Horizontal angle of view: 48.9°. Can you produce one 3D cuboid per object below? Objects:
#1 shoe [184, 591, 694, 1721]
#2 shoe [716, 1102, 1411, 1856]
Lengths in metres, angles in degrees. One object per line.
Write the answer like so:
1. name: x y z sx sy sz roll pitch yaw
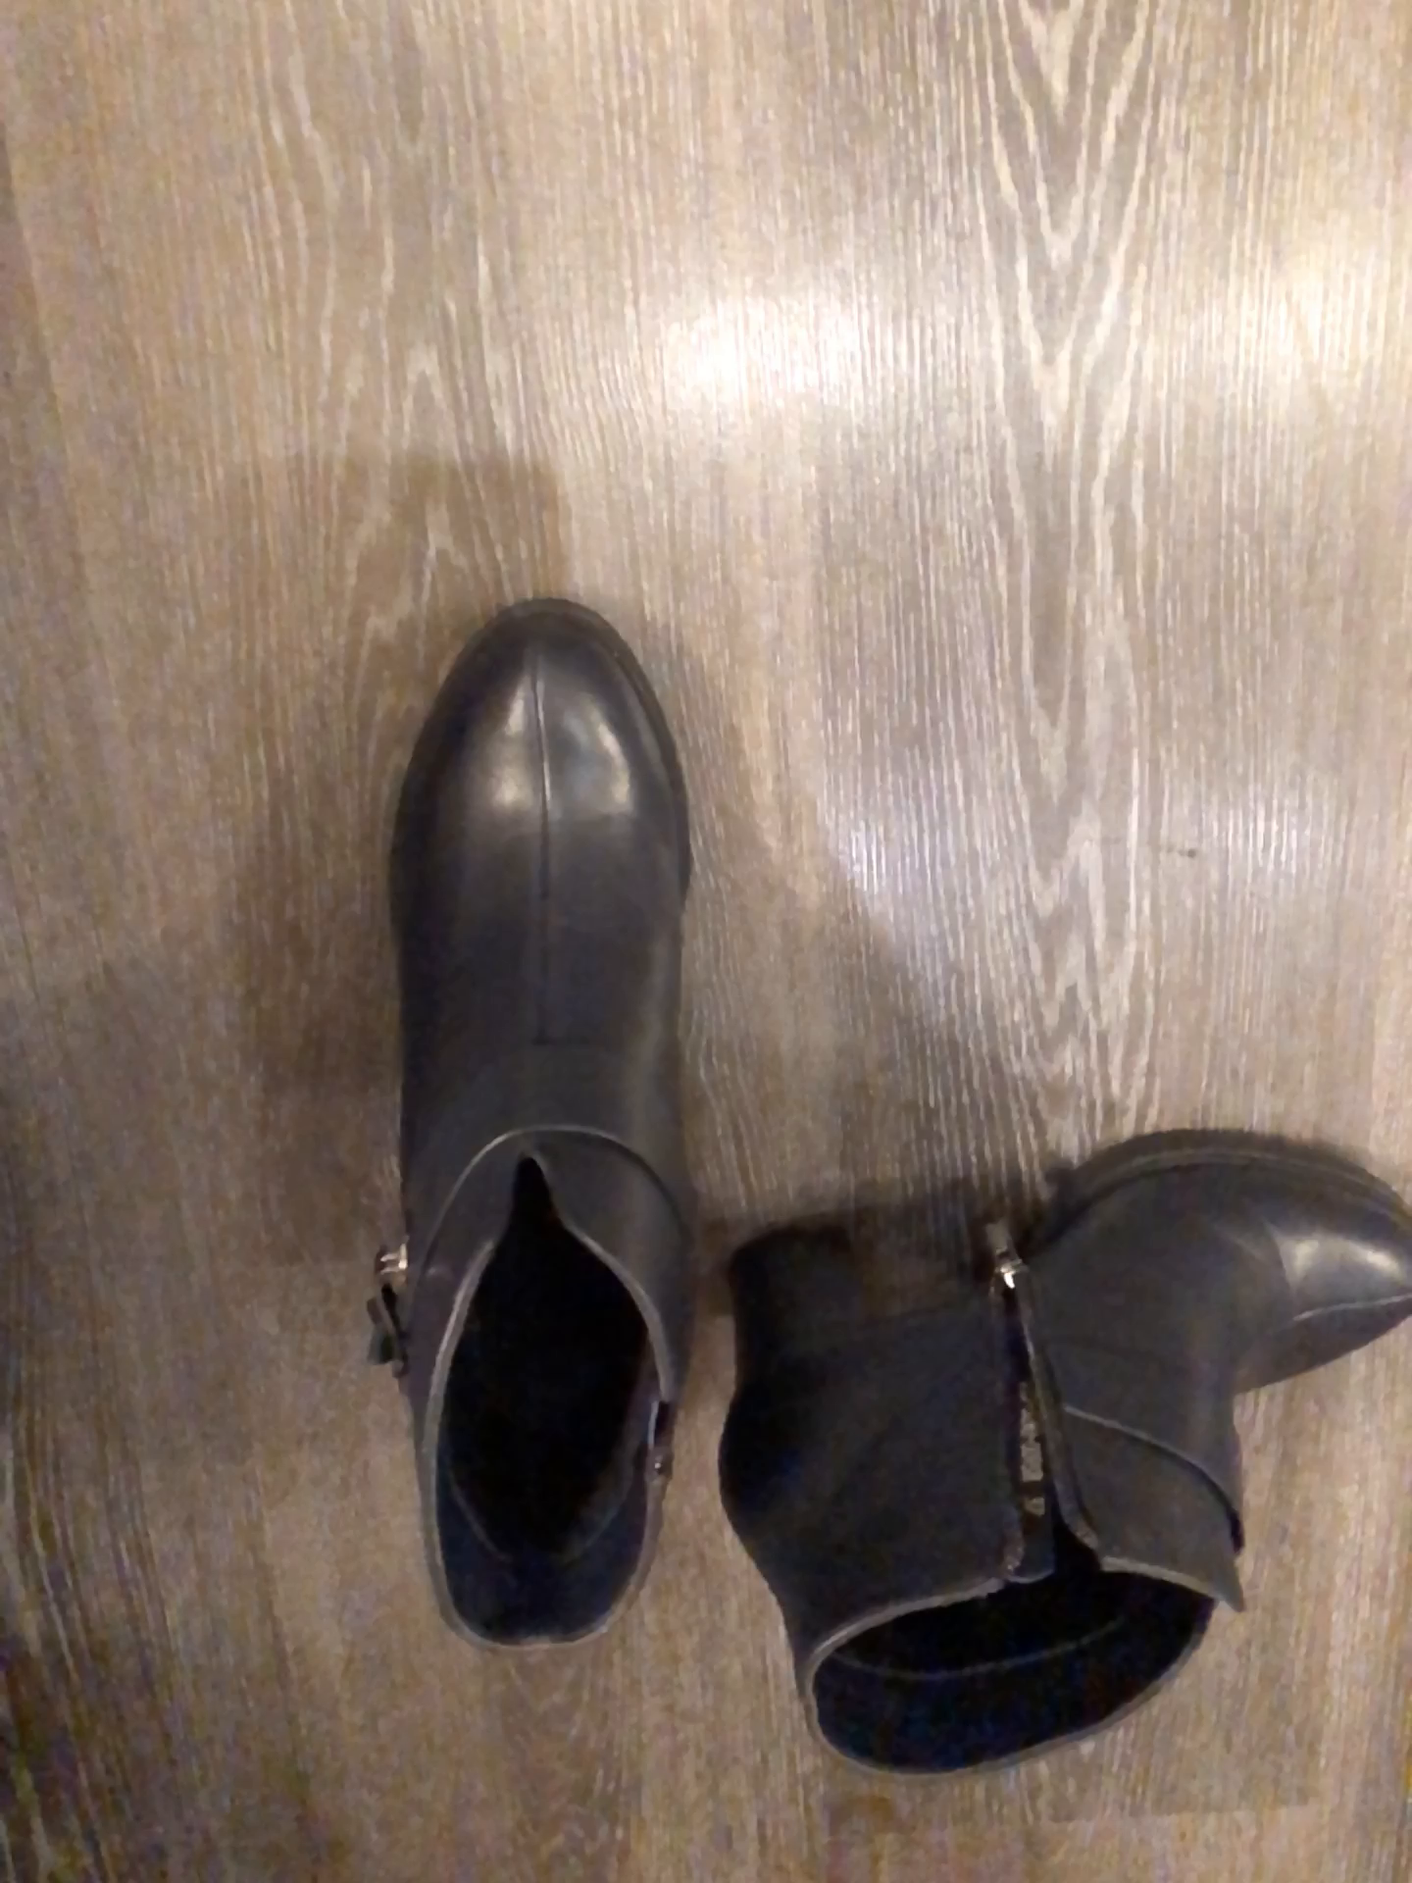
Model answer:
1. shoe: -0.049 0.037 0.397 0.090 0.180 0.230 0 109 -1
2. shoe: 0.121 0.133 0.440 0.230 0.200 0.090 -2 109 0
